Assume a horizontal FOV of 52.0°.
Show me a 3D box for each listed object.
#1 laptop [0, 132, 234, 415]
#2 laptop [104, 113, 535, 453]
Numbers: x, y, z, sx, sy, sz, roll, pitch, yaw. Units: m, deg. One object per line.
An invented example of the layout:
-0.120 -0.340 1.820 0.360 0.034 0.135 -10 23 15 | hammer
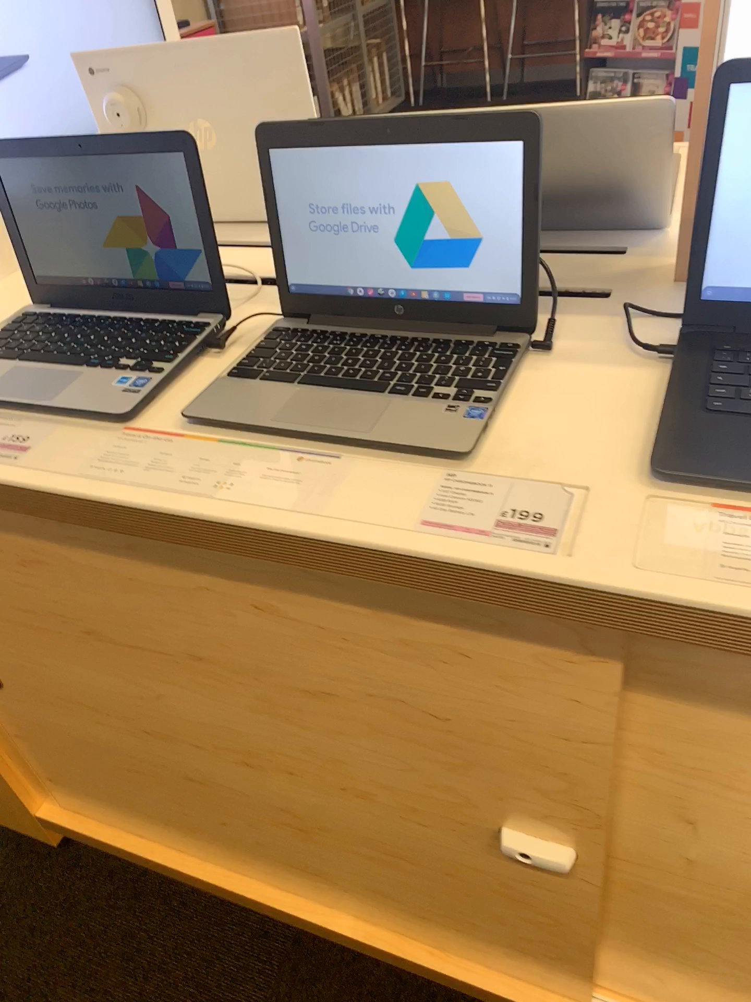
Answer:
-0.343 -0.243 0.795 0.287 0.180 0.223 8 43 21 | laptop
-0.026 -0.200 0.674 0.278 0.185 0.229 9 42 23 | laptop
